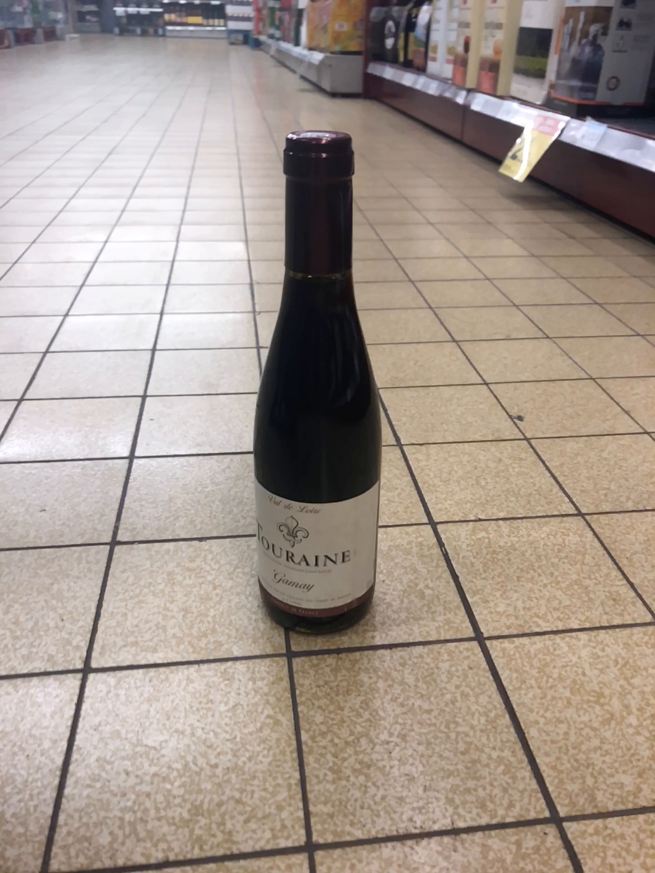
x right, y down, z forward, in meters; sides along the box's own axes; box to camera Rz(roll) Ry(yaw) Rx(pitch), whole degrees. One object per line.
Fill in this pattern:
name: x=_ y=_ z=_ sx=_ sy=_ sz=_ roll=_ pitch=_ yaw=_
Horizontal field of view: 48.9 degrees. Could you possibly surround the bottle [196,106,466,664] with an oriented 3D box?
bottle: x=0.000 y=-0.019 z=0.337 sx=0.080 sy=0.239 sz=0.070 roll=17 pitch=32 yaw=27
